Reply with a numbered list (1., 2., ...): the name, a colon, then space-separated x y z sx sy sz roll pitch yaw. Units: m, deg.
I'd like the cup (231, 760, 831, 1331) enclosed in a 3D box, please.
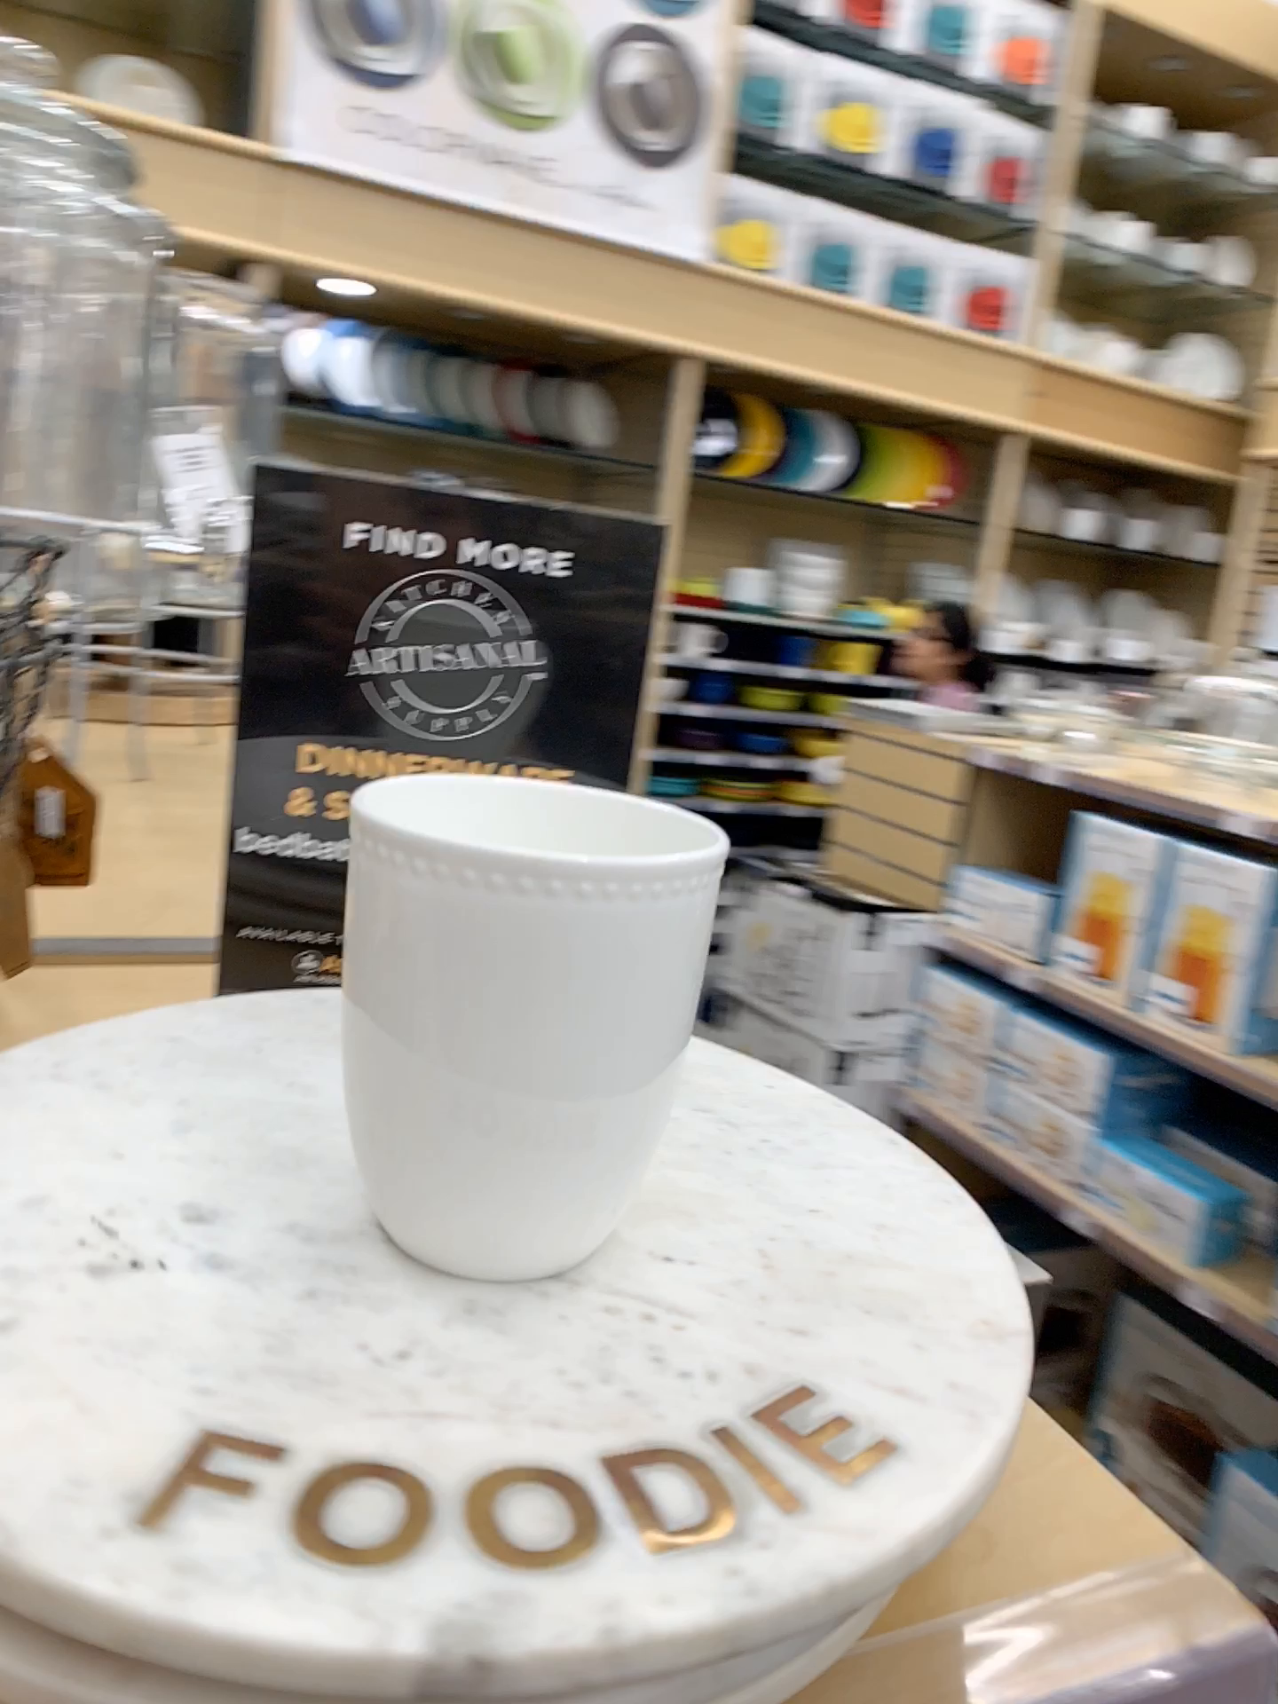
1. cup: -0.020 0.035 0.335 0.096 0.094 0.125 12 12 21
